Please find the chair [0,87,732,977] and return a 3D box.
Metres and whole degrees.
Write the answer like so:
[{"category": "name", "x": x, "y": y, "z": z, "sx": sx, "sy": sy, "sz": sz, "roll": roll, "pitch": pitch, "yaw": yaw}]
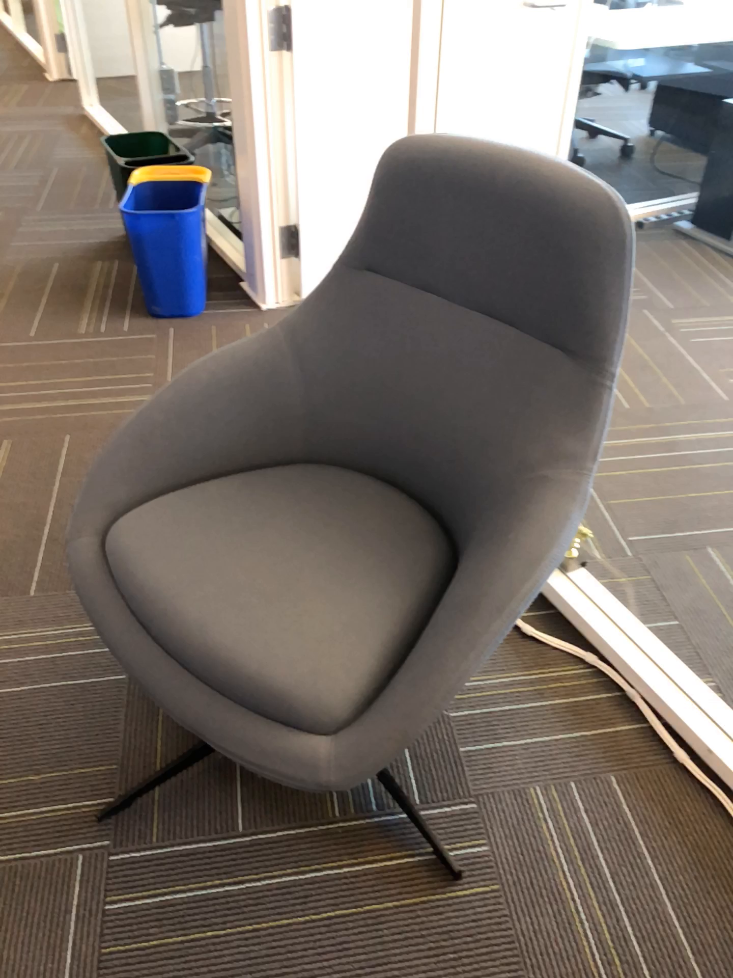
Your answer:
[{"category": "chair", "x": -0.065, "y": 0.022, "z": 1.354, "sx": 0.962, "sy": 0.995, "sz": 0.933, "roll": -30, "pitch": 47, "yaw": -33}]
